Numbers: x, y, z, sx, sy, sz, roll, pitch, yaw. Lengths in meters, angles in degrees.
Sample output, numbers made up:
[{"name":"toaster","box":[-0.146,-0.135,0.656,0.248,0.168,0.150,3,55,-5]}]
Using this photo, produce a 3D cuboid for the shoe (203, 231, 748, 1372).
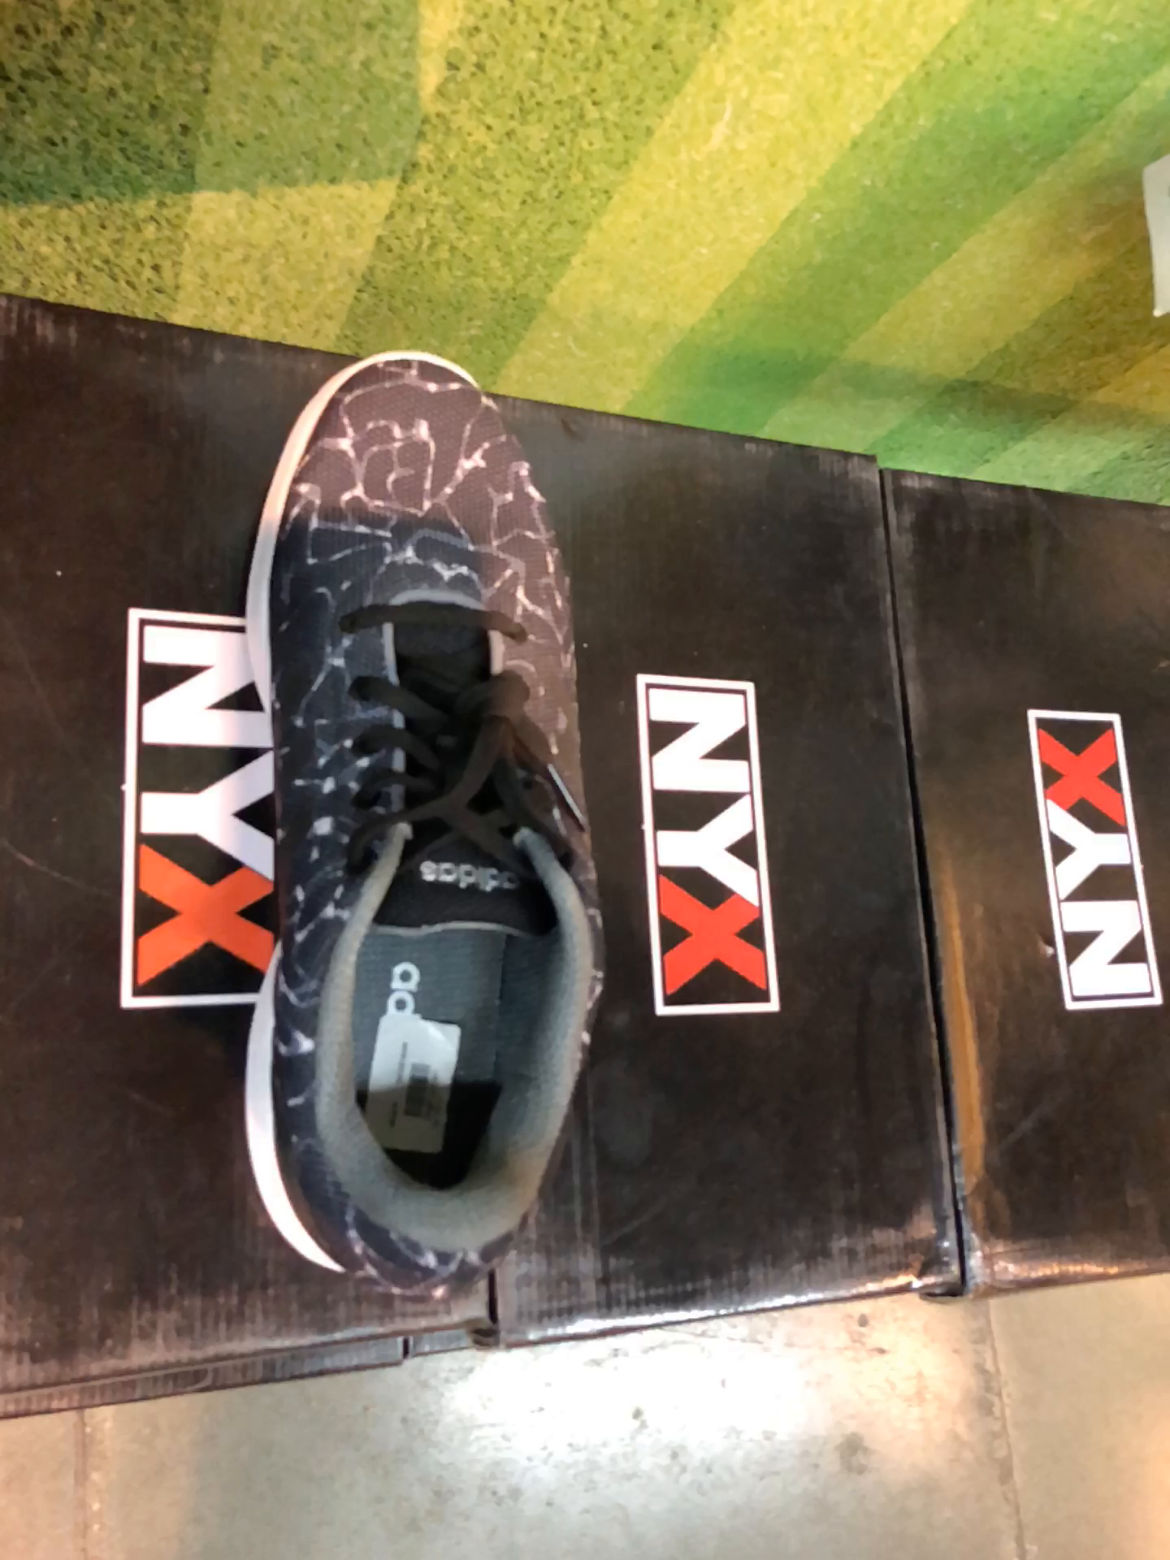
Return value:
[{"name":"shoe","box":[-0.036,0.009,0.361,0.109,0.121,0.261,6,75,-22]}]
